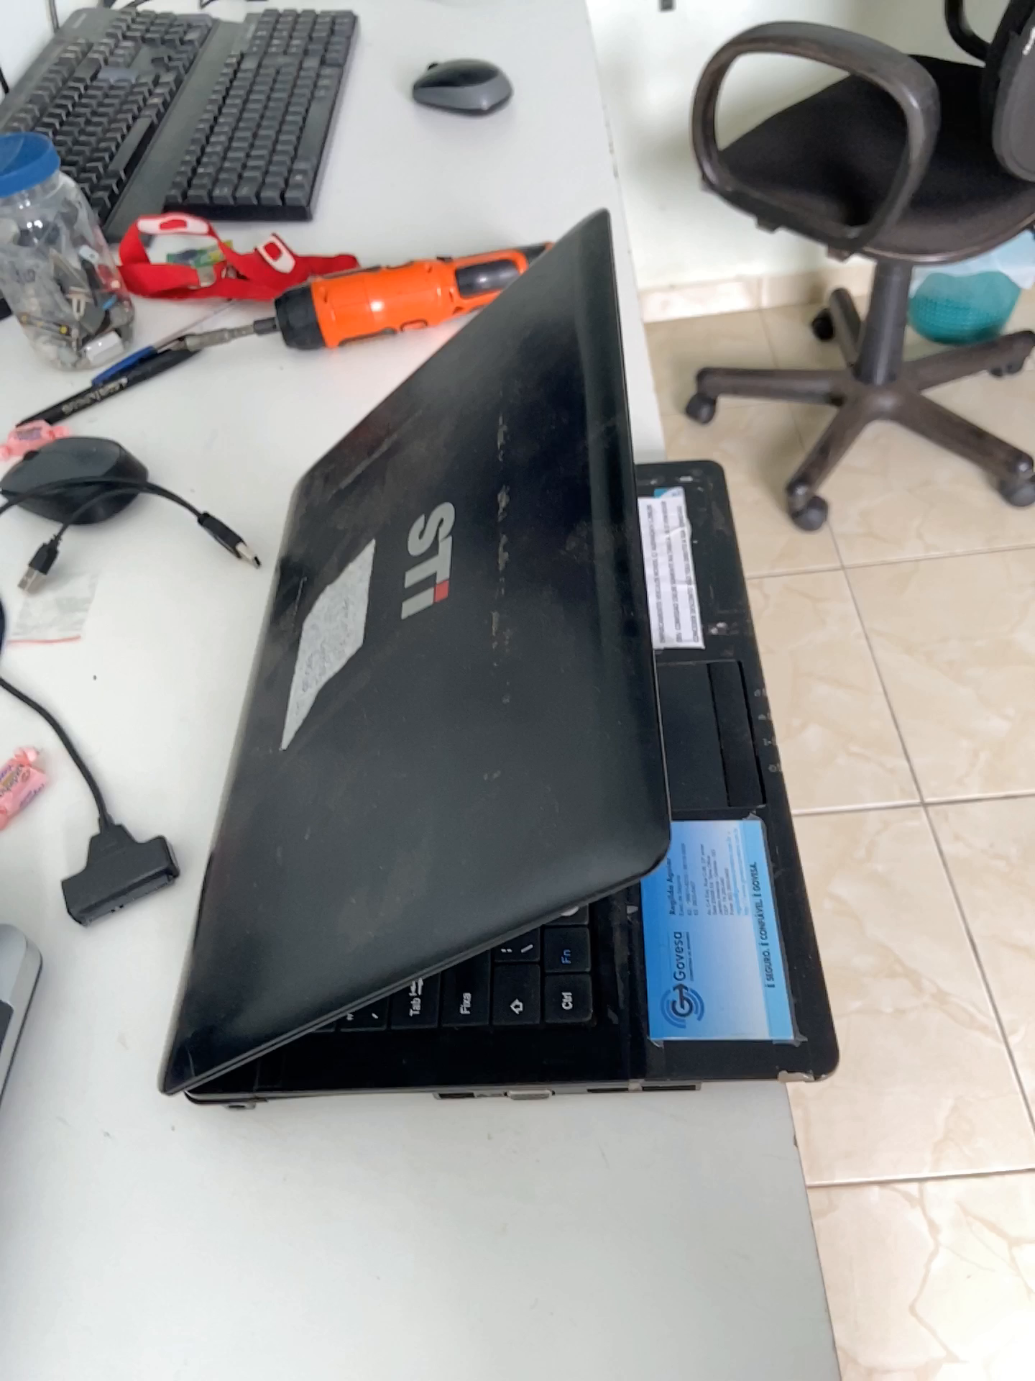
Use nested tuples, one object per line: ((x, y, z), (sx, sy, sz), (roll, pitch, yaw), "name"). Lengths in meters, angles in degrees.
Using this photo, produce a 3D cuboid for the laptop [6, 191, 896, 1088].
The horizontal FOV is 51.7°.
((-0.011, -0.038, 0.431), (0.227, 0.144, 0.337), (-4, 50, 5), "laptop")
